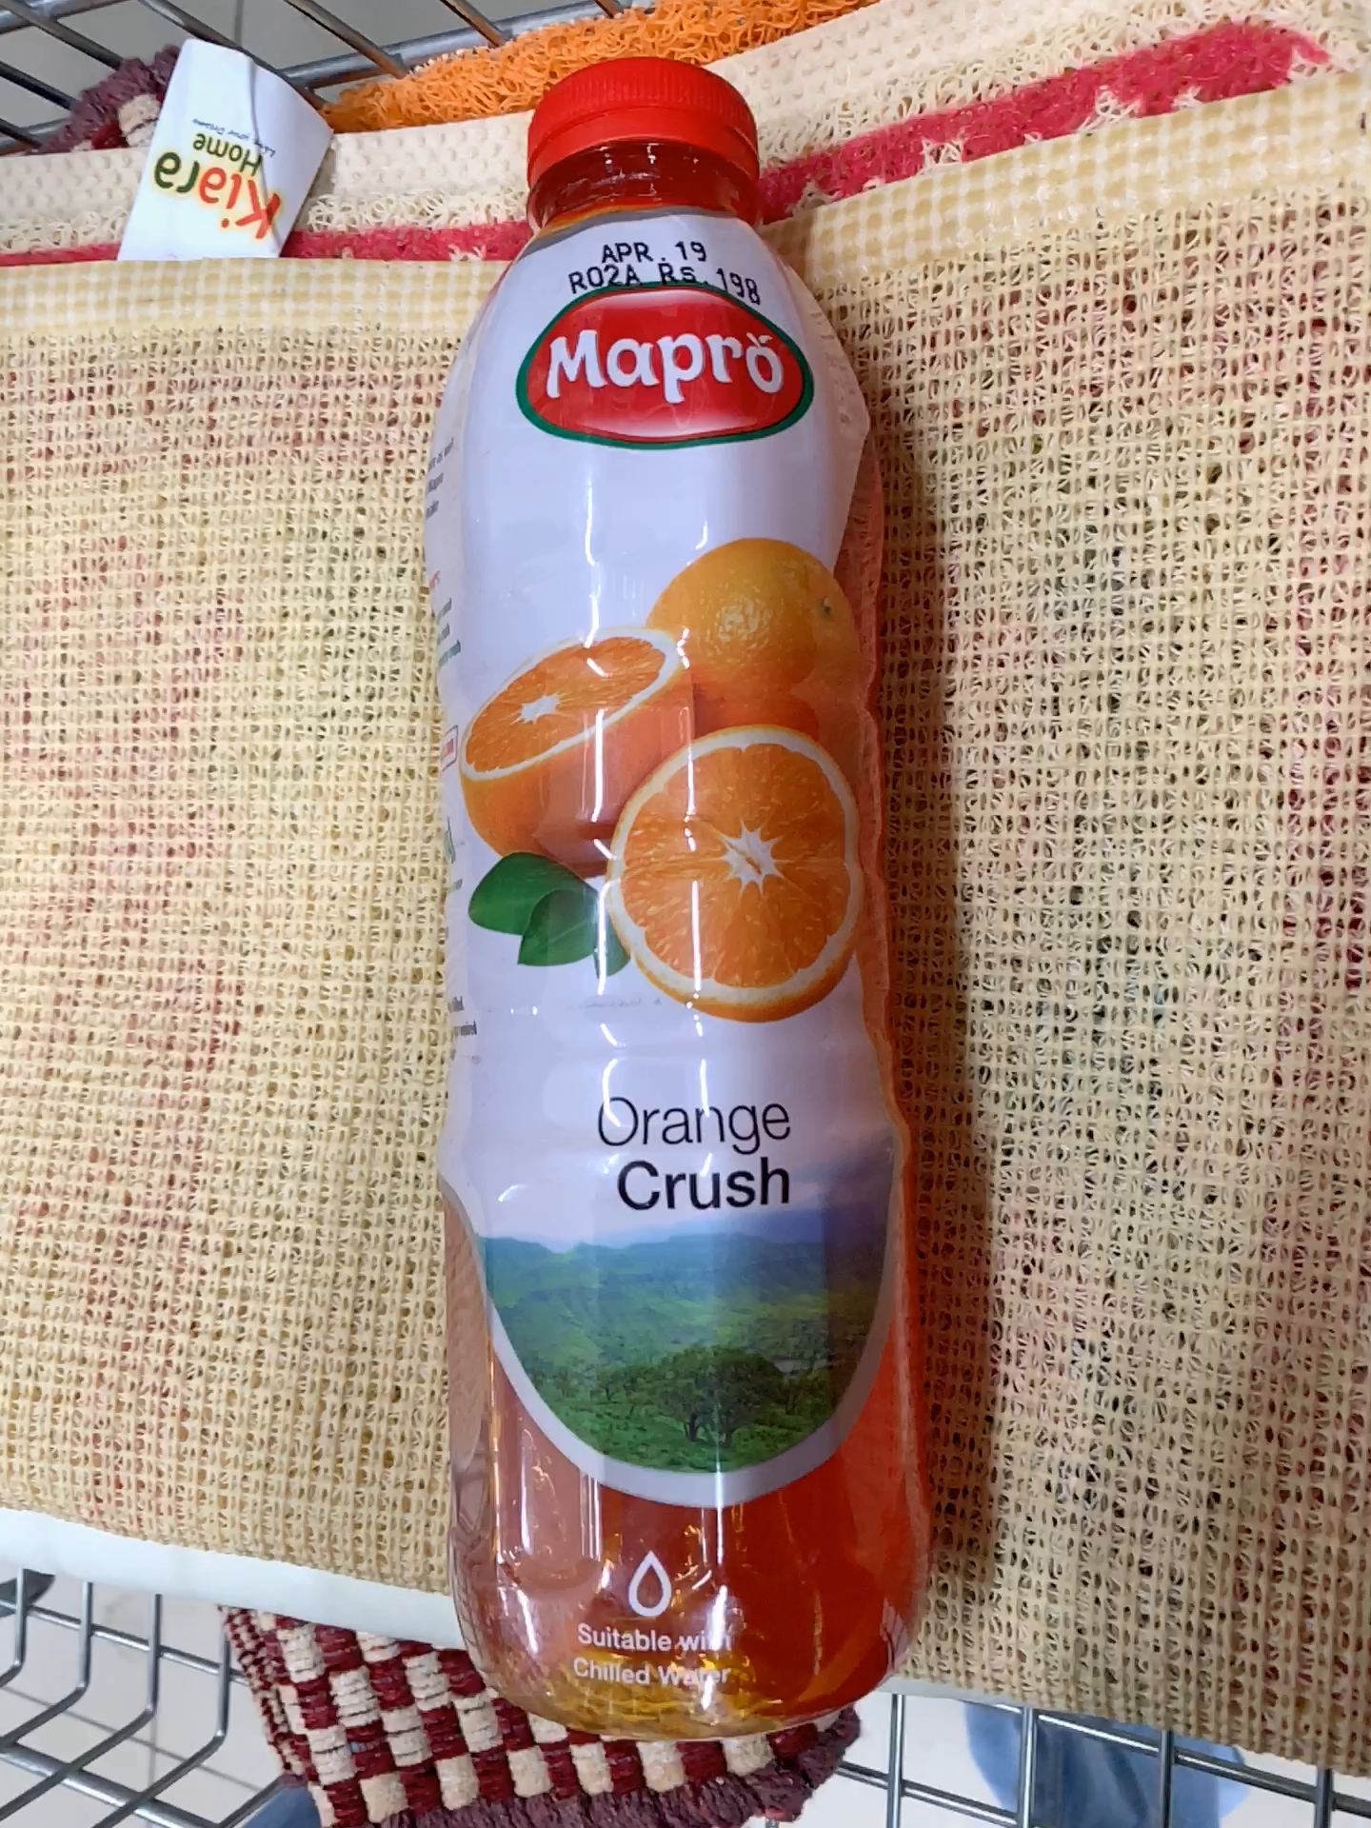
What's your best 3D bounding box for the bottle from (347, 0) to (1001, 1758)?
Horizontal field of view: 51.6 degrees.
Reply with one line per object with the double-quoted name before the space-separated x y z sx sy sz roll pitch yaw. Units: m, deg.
"bottle" -0.003 -0.016 0.213 0.080 0.070 0.240 0 88 -2
